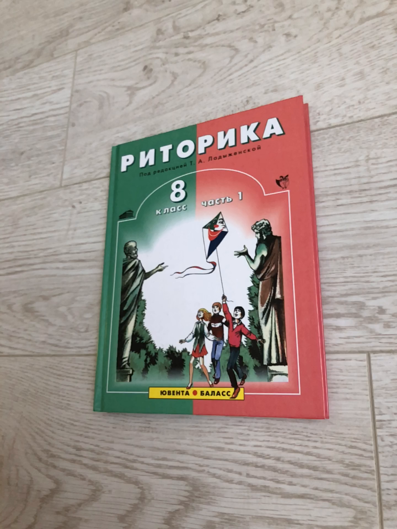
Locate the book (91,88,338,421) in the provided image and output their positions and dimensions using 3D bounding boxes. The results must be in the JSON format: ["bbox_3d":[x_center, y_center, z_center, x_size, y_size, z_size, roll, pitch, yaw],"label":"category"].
[{"bbox_3d":[0.004,-0.006,0.325,0.171,0.020,0.223,-7,72,25],"label":"book"}]
